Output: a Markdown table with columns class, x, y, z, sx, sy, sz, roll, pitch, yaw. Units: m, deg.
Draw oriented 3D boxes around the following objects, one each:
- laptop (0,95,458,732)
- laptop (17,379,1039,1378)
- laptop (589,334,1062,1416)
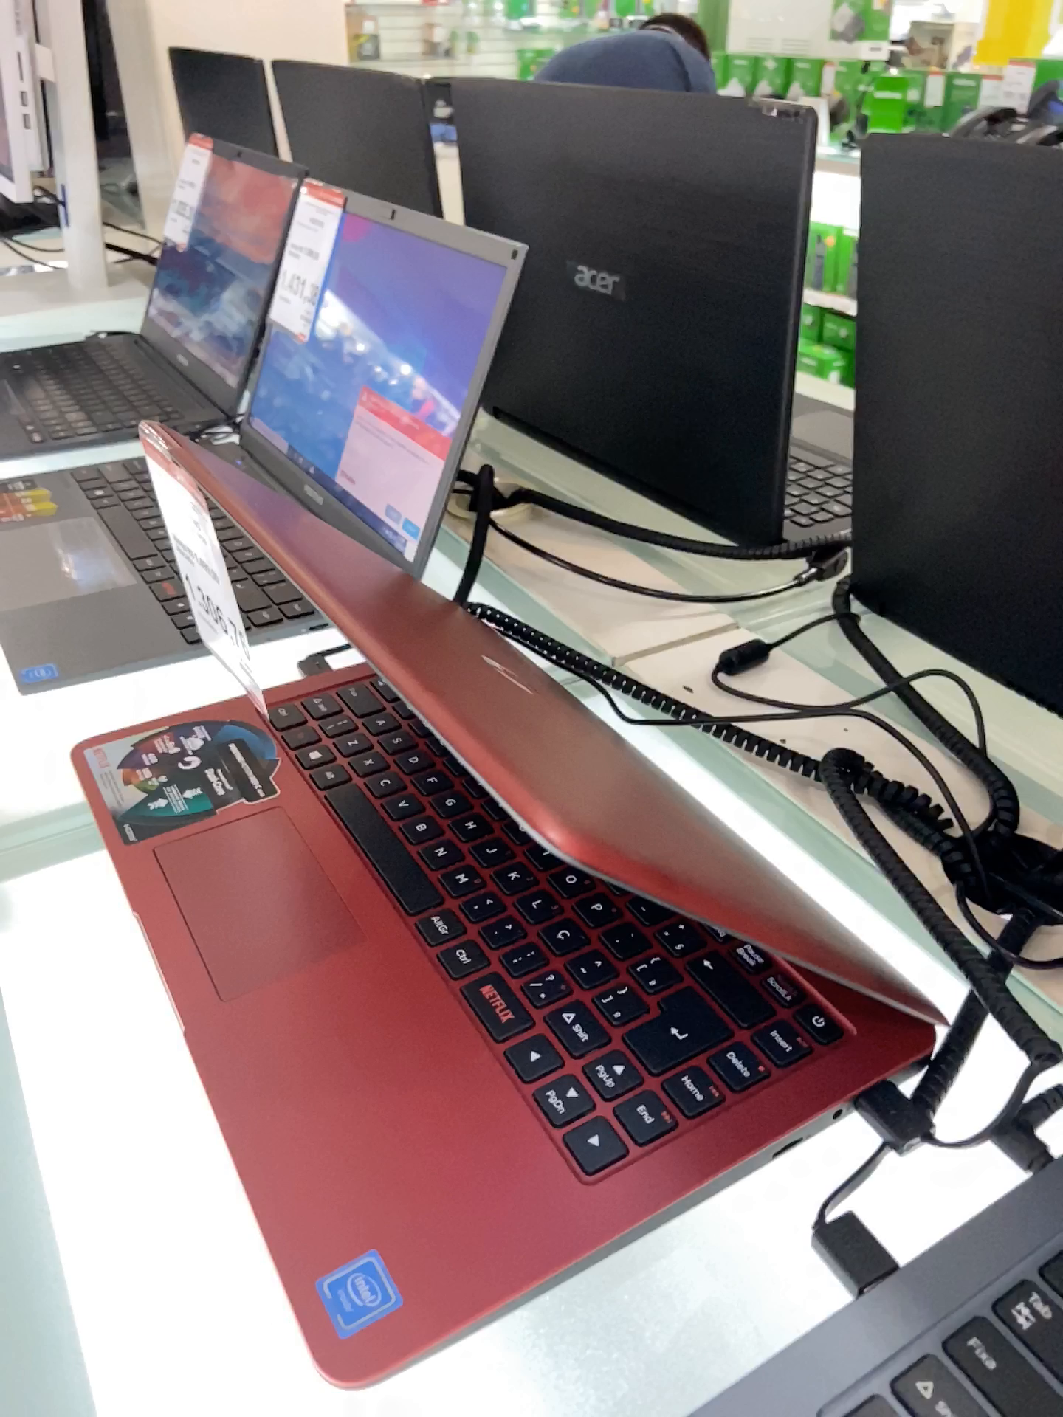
| class | x | y | z | sx | sy | sz | roll | pitch | yaw |
| --- | --- | --- | --- | --- | --- | --- | --- | --- | --- |
| laptop | -0.203 | -0.204 | 0.638 | 0.286 | 0.159 | 0.235 | -26 | 51 | -32 |
| laptop | -0.034 | 0.003 | 0.401 | 0.212 | 0.144 | 0.321 | -17 | 35 | -25 |
| laptop | 0.213 | 0.151 | 0.101 | 0.277 | 0.207 | 0.386 | -21 | 39 | -27 |
